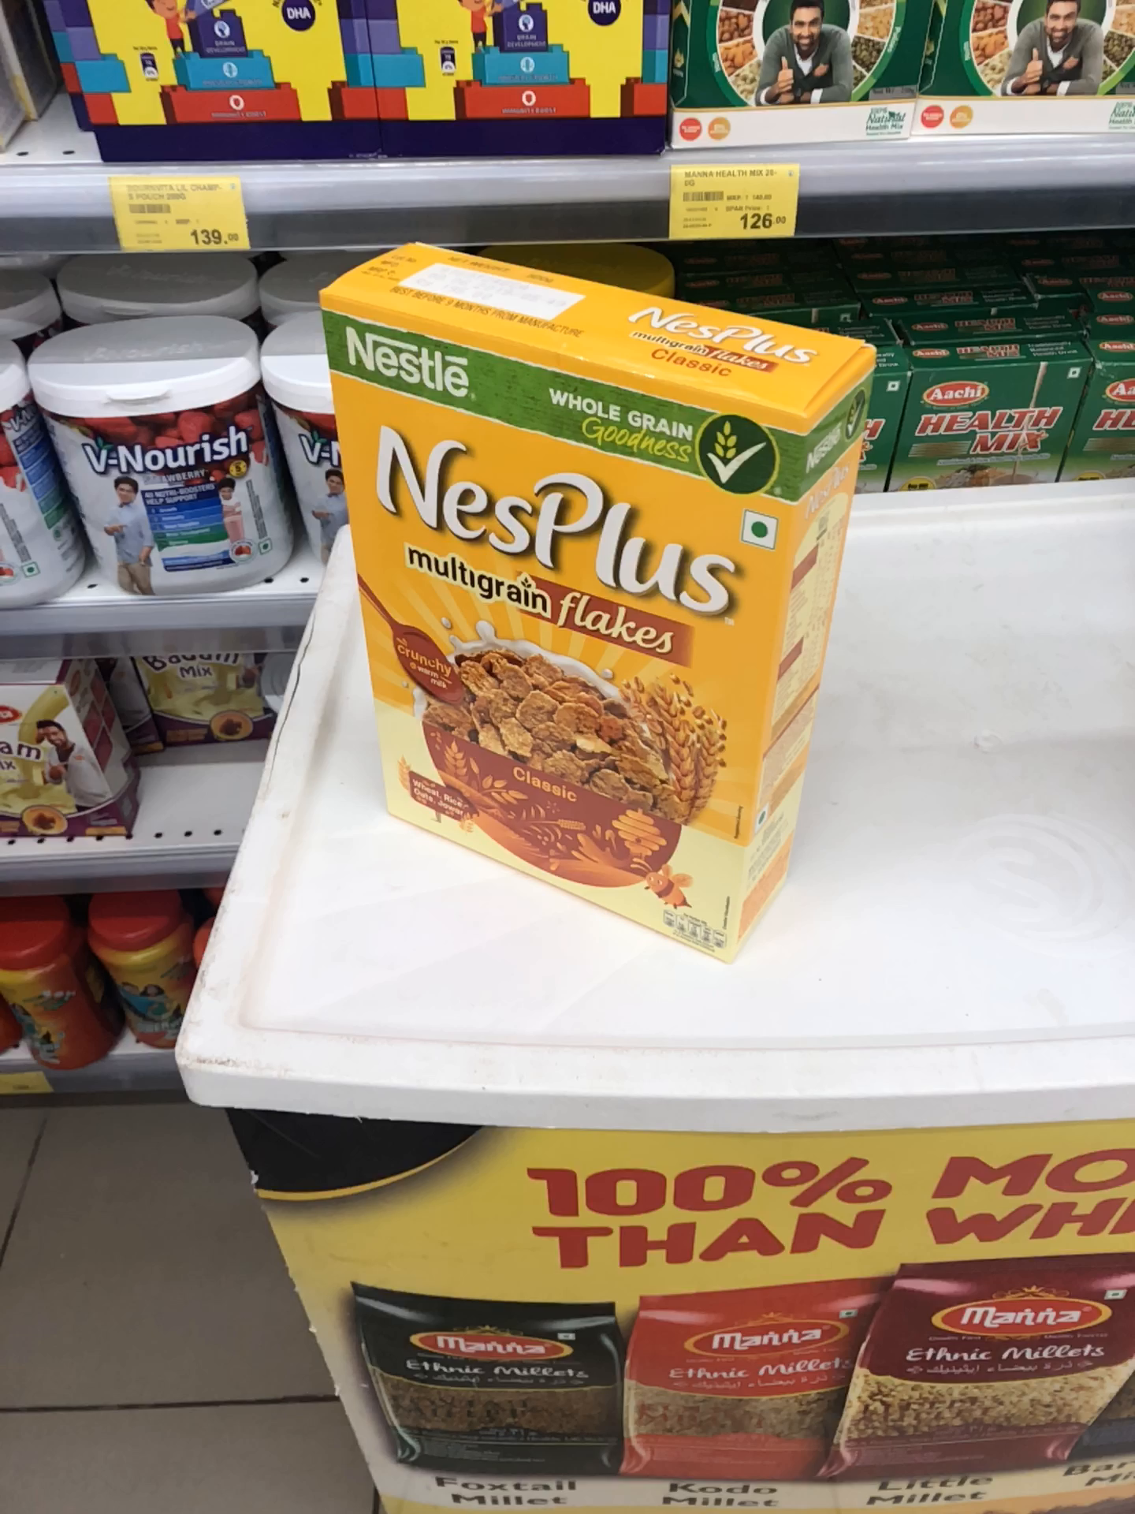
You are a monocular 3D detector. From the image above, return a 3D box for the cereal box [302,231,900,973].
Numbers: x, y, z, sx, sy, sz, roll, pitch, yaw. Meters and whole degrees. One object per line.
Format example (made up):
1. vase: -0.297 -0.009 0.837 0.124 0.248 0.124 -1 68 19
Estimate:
1. cereal box: 0.010 -0.056 0.530 0.200 0.269 0.070 21 47 22
